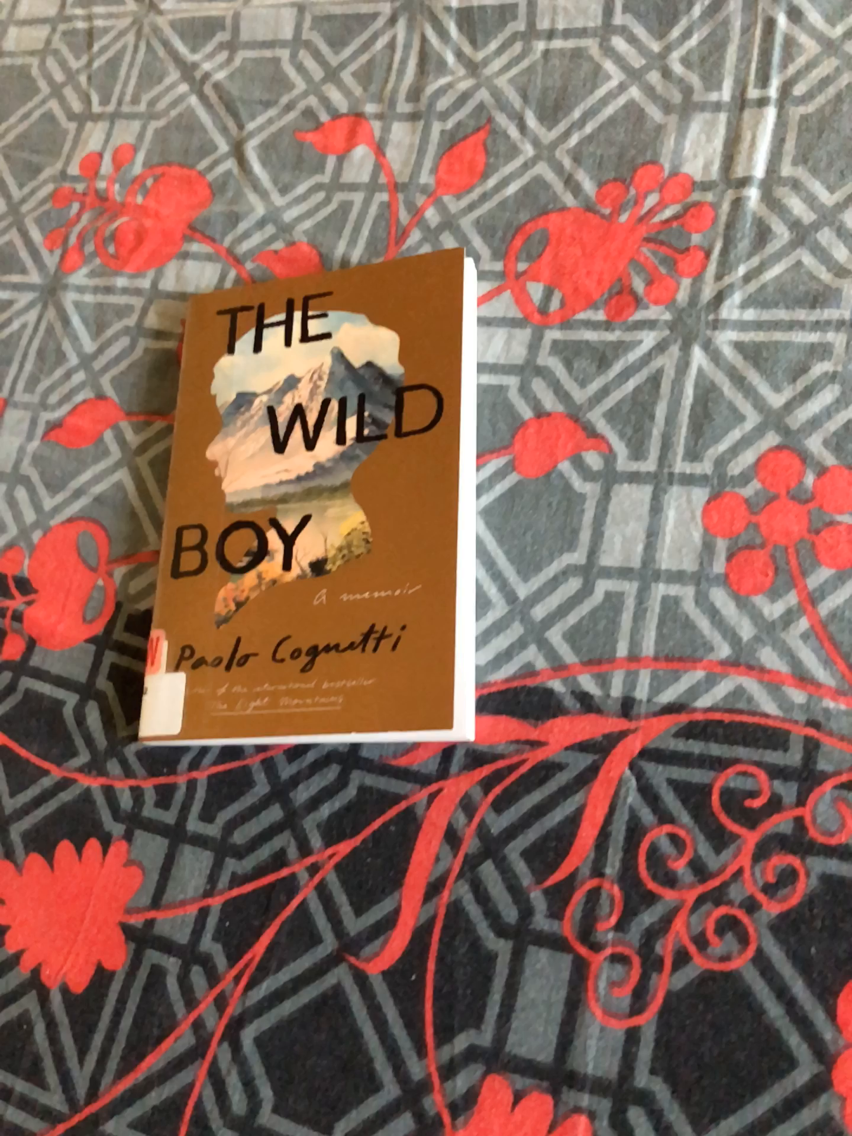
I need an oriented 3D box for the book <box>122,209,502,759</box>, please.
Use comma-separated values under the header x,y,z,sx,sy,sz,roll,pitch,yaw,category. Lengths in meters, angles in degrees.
x,y,z,sx,sy,sz,roll,pitch,yaw,category
-0.044,-0.037,0.408,0.150,0.030,0.230,-5,69,19,book
